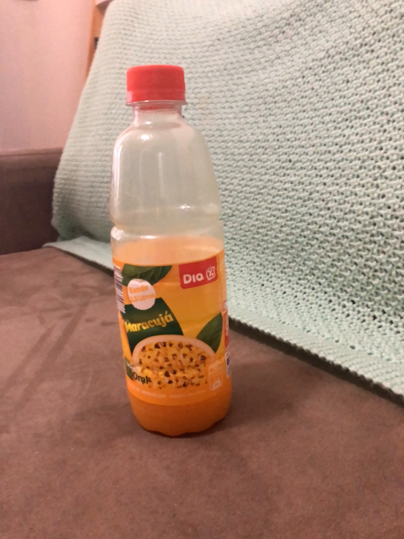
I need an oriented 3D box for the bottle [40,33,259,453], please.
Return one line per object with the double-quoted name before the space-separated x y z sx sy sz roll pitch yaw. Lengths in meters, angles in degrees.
"bottle" -0.020 -0.014 0.261 0.080 0.199 0.080 -3 15 1
